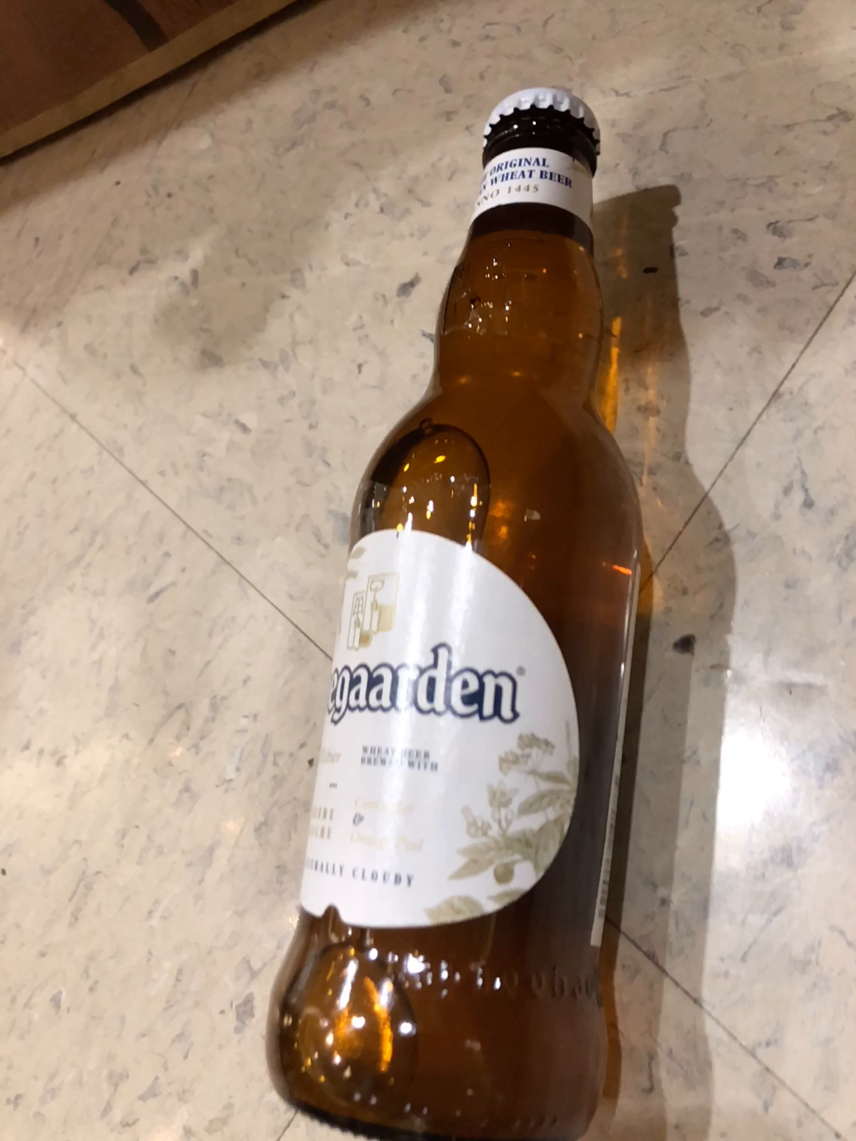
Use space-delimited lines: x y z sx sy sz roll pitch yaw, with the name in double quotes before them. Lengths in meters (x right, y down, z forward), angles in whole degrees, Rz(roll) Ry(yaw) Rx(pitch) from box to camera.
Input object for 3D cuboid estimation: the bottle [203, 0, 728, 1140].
"bottle" 0.017 -0.009 0.202 0.070 0.050 0.230 -5 70 35
